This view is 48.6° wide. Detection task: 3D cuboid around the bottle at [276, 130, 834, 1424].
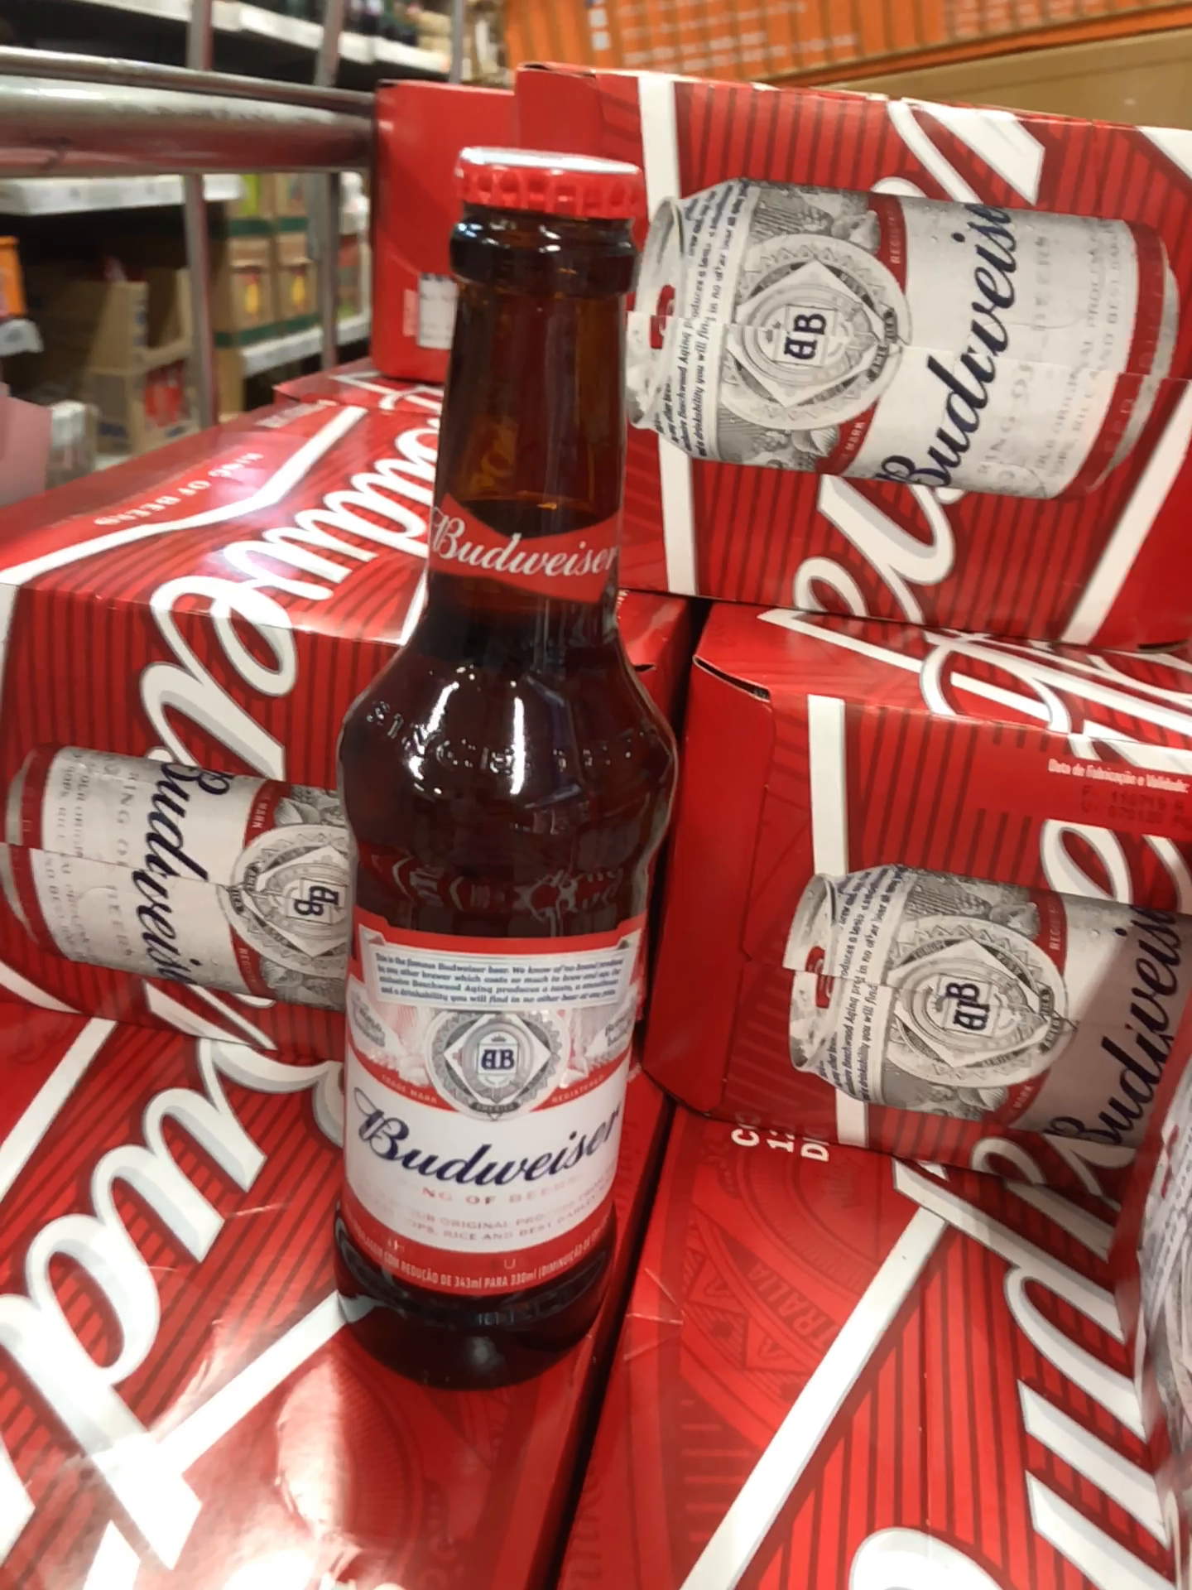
[{"bbox_3d":[-0.014,0.009,0.242,0.070,0.228,0.060,5,26,-1],"label":"bottle"}]
